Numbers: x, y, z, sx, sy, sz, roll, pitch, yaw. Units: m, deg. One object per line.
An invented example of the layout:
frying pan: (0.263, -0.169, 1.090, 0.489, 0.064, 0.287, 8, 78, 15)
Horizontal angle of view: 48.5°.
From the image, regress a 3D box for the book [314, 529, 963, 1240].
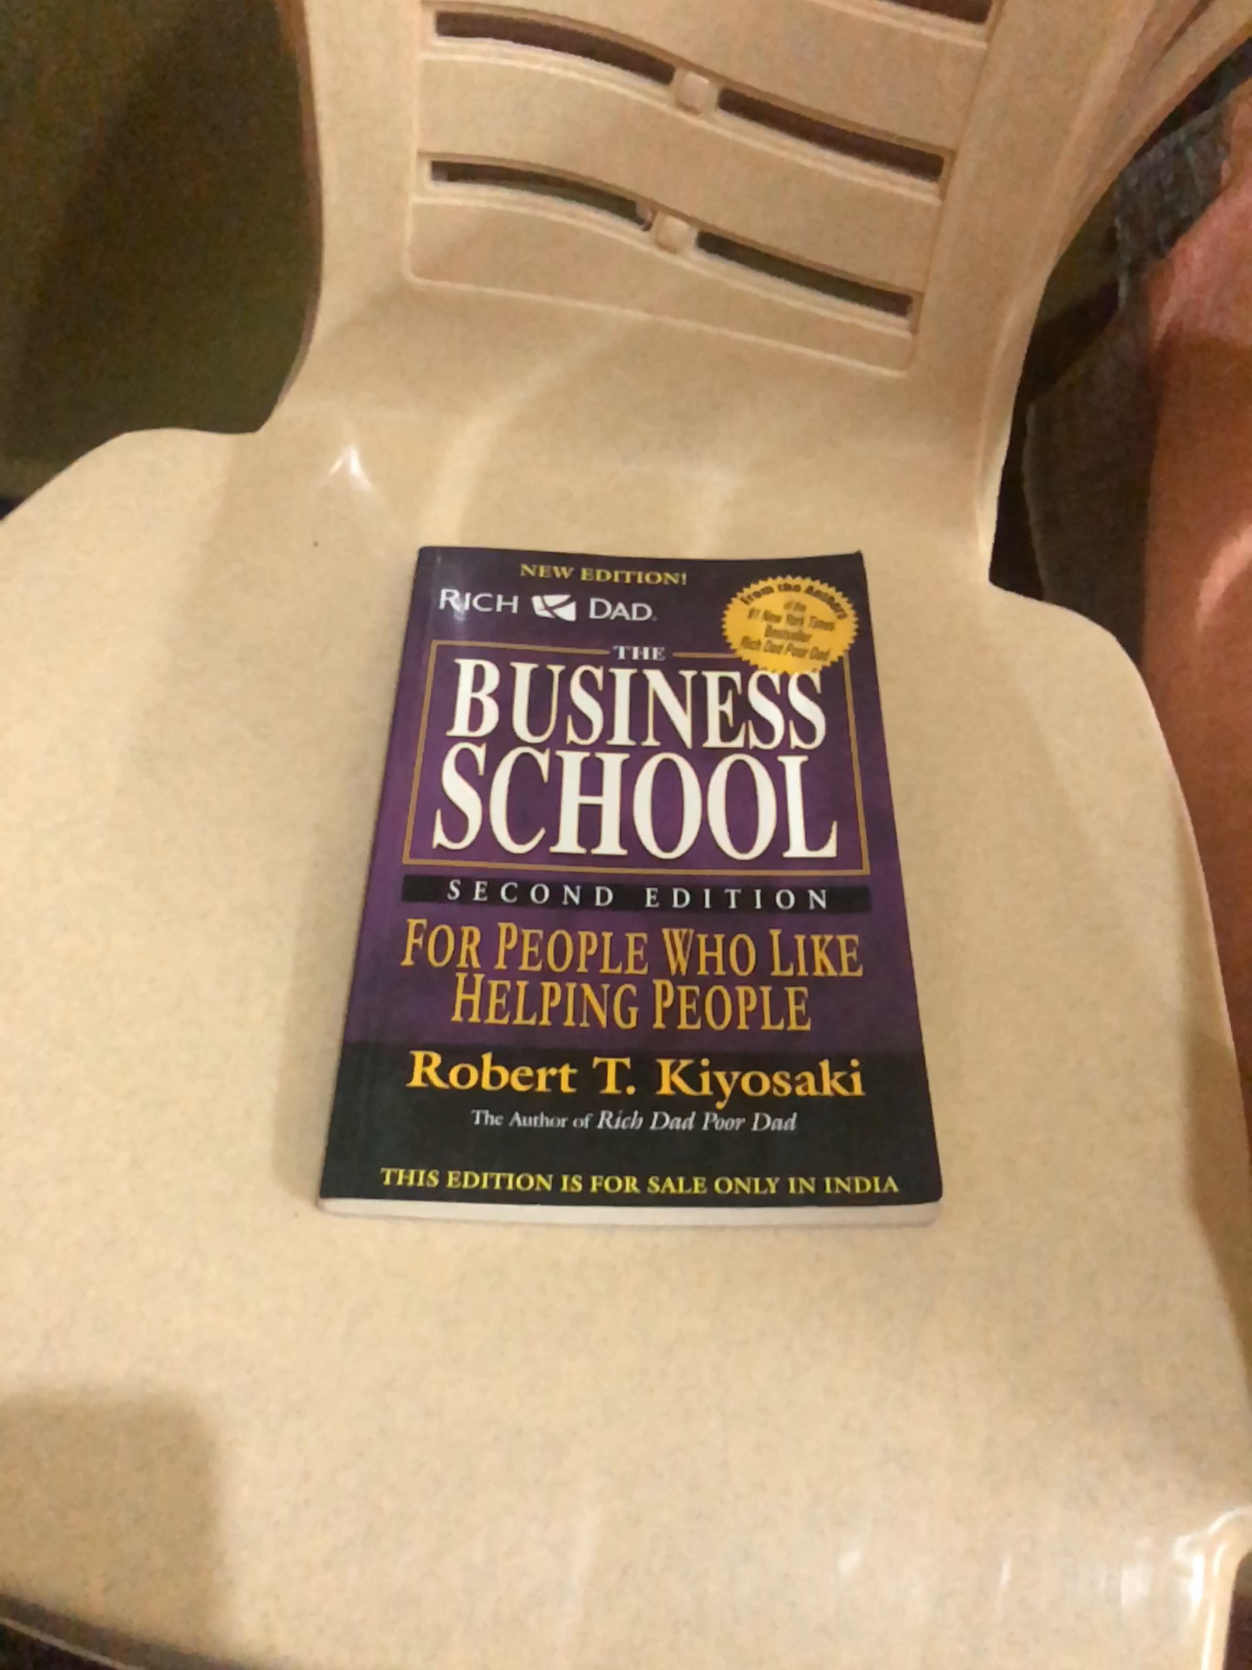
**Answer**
book: (0.005, 0.004, 0.428, 0.170, 0.020, 0.230, 2, 61, -1)
